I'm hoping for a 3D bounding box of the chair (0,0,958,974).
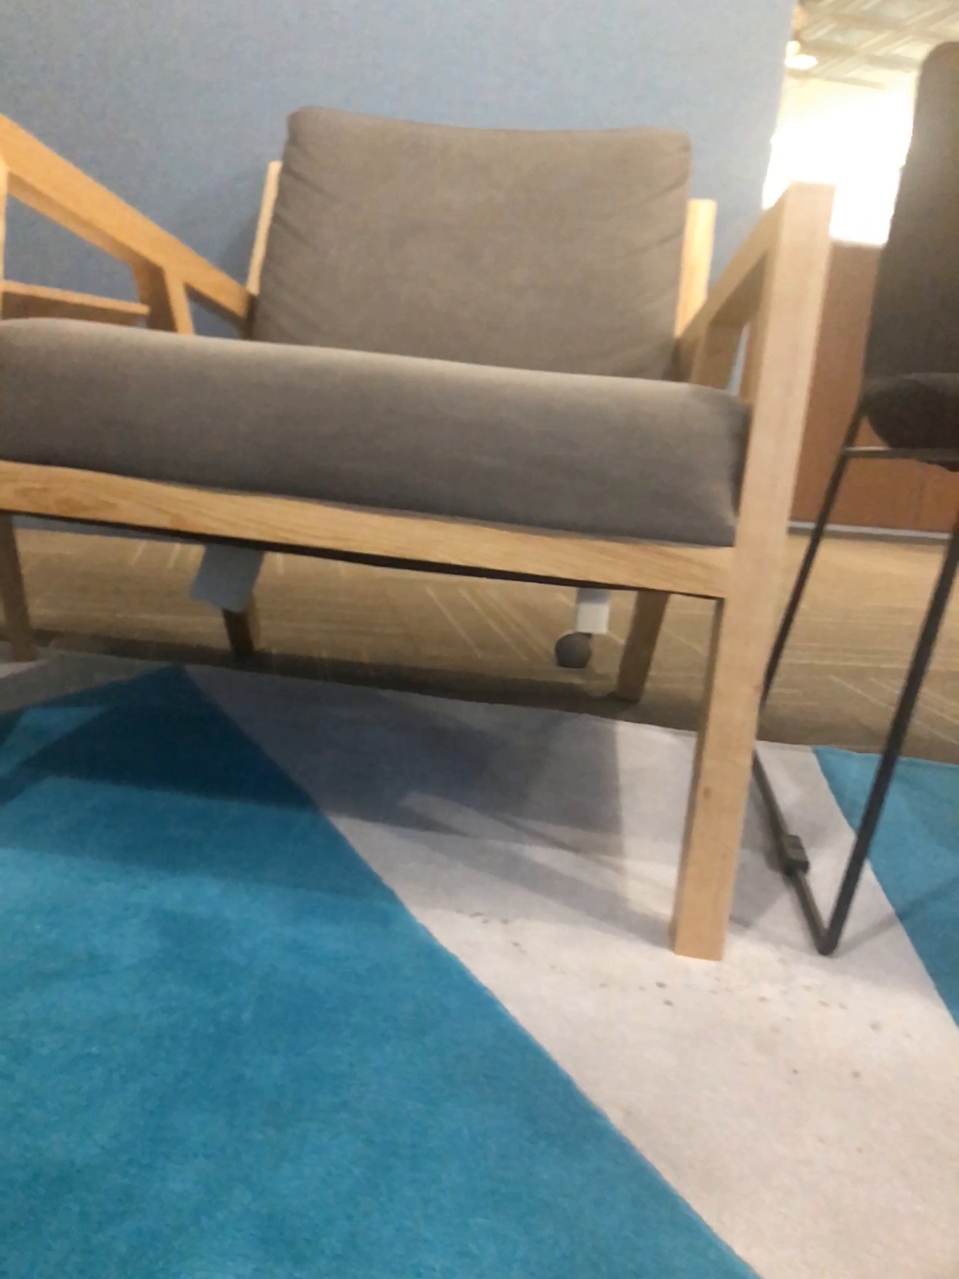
[{"bbox_3d":[-0.052,-0.260,1.111,0.710,0.747,0.844,7,13,4],"label":"chair"}]
